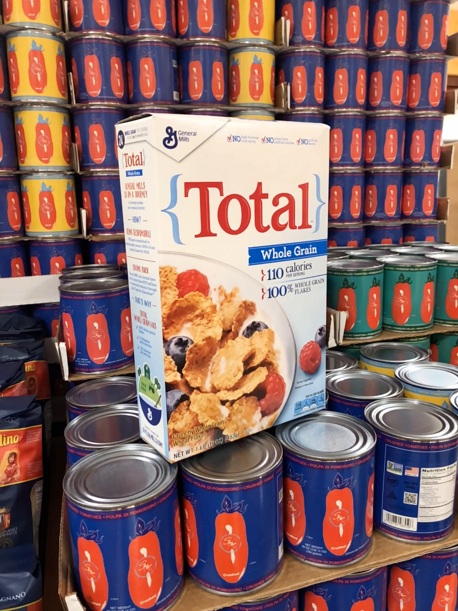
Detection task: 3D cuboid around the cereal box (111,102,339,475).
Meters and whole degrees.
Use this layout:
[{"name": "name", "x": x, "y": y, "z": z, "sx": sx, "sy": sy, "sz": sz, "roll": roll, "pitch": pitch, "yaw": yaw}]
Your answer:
[{"name": "cereal box", "x": 0.008, "y": -0.023, "z": 0.498, "sx": 0.210, "sy": 0.309, "sz": 0.070, "roll": -10, "pitch": 13, "yaw": -34}]
